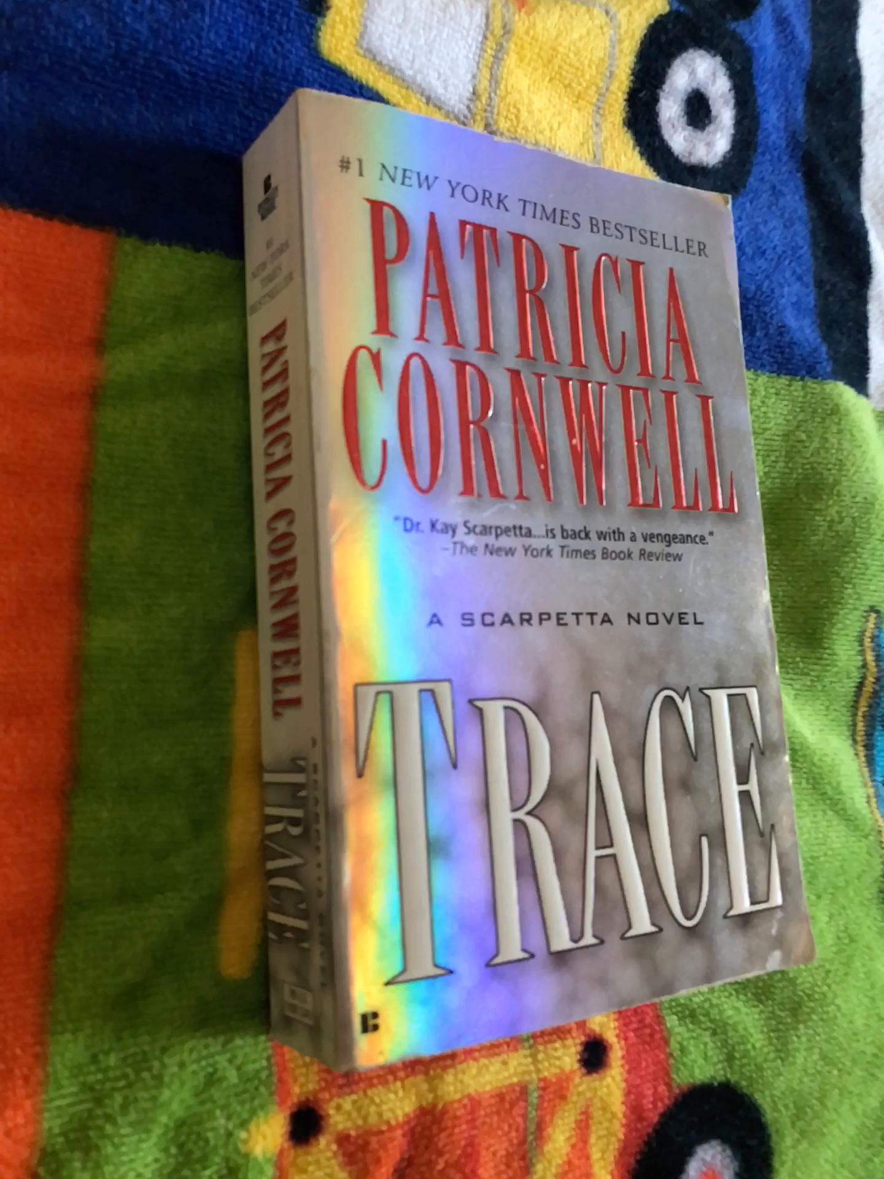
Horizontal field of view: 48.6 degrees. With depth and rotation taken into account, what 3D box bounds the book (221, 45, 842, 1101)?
[{"bbox_3d":[0.020,-0.006,0.213,0.120,0.040,0.180,1,80,-32],"label":"book"}]
